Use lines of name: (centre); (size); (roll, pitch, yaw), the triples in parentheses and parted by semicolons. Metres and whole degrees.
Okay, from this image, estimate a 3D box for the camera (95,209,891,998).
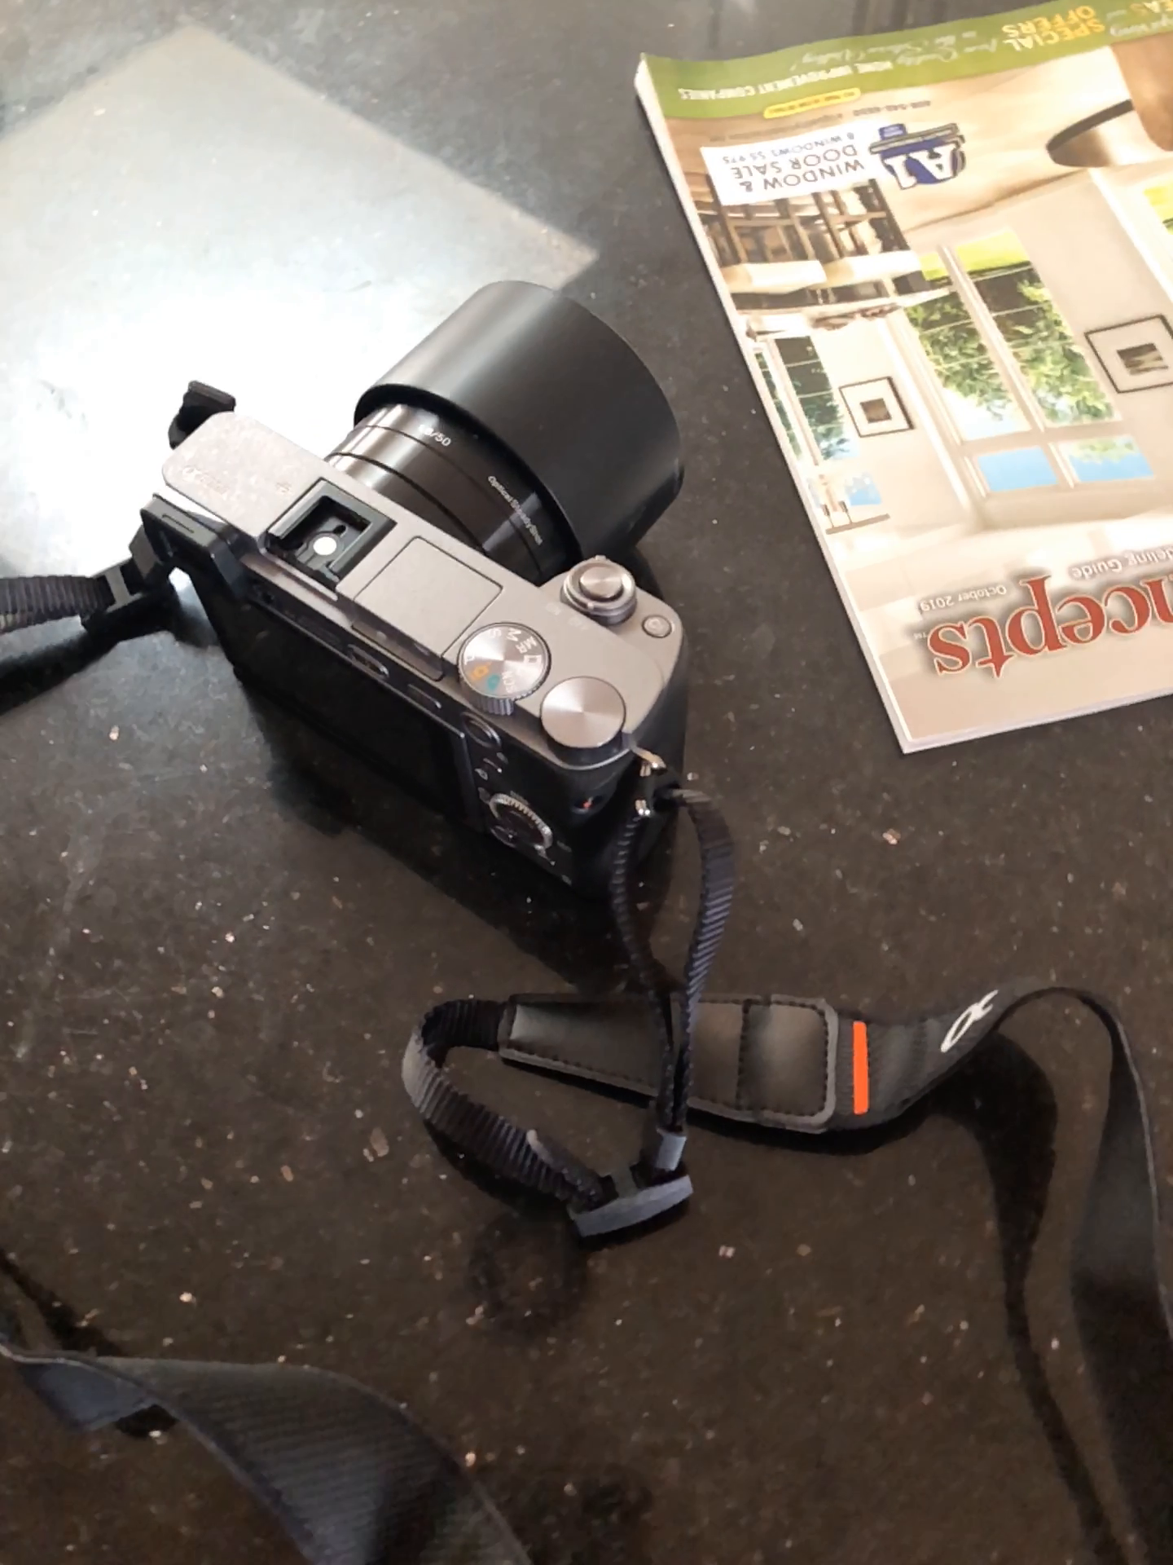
camera: (-0.018, -0.040, 0.306); (0.127, 0.100, 0.099); (33, 67, 17)
